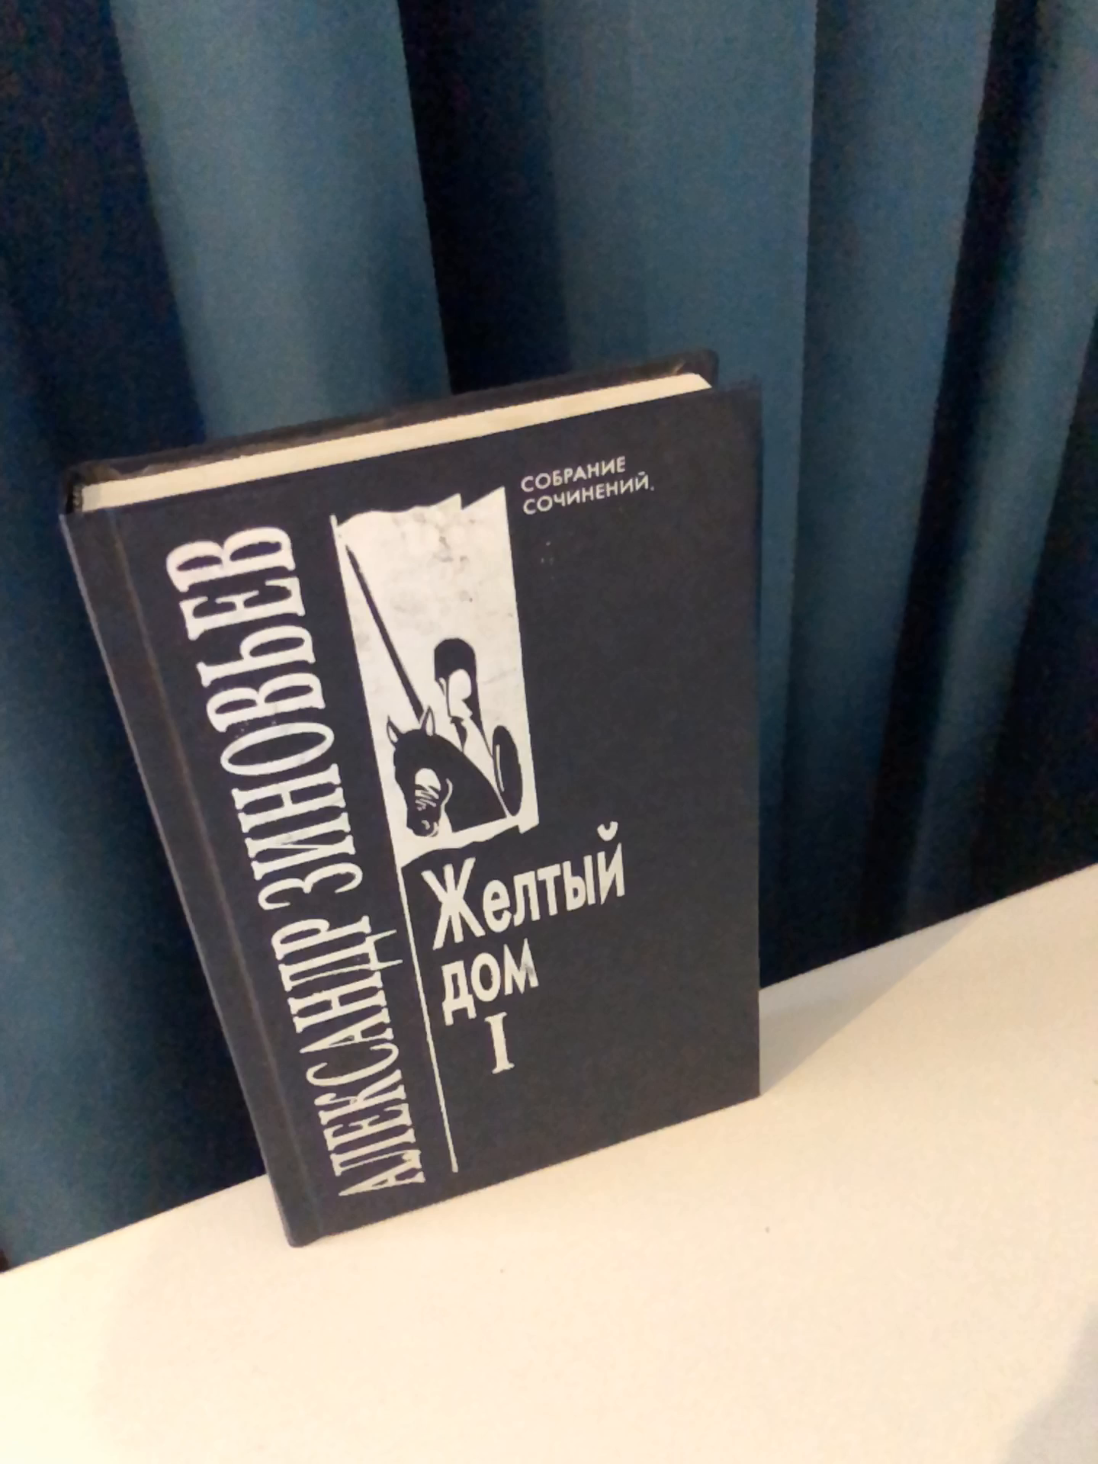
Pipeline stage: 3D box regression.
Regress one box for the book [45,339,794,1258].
[{"bbox_3d":[-0.015,0.028,0.291,0.140,0.210,0.033,-14,34,-12],"label":"book"}]
